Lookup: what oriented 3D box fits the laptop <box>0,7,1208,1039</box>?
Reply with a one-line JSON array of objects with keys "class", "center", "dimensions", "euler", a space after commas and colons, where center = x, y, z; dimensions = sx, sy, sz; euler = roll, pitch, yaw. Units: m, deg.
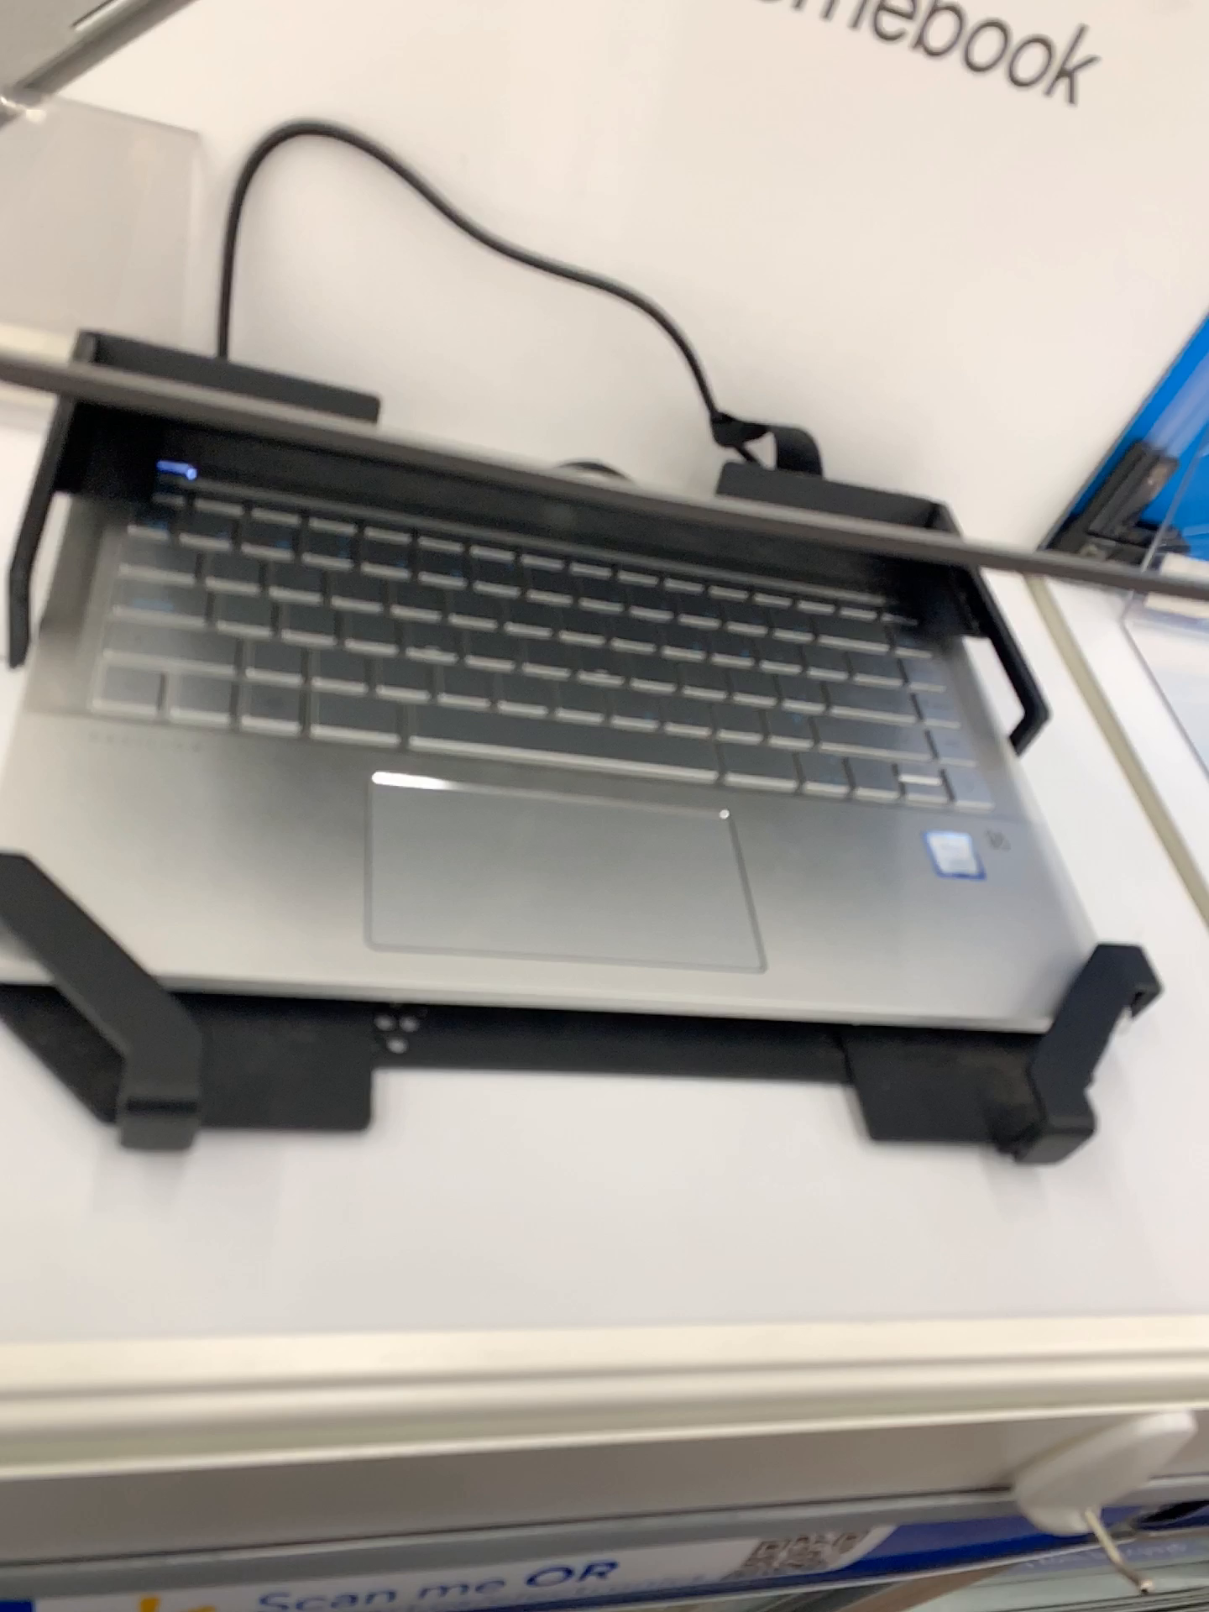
[{"class": "laptop", "center": [0.012, -0.066, 0.312], "dimensions": [0.283, 0.111, 0.194], "euler": [6, 49, -16]}]
